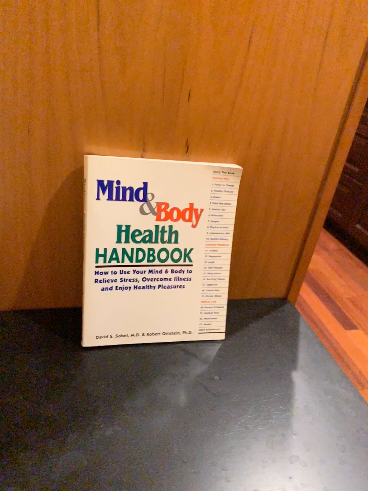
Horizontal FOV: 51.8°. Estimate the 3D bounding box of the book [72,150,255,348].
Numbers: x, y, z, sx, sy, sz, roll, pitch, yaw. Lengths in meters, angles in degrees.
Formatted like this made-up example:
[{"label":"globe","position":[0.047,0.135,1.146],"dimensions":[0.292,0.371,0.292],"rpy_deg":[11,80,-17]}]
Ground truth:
[{"label":"book","position":[-0.028,0.007,0.473],"dimensions":[0.210,0.229,0.040],"rpy_deg":[1,11,-15]}]
